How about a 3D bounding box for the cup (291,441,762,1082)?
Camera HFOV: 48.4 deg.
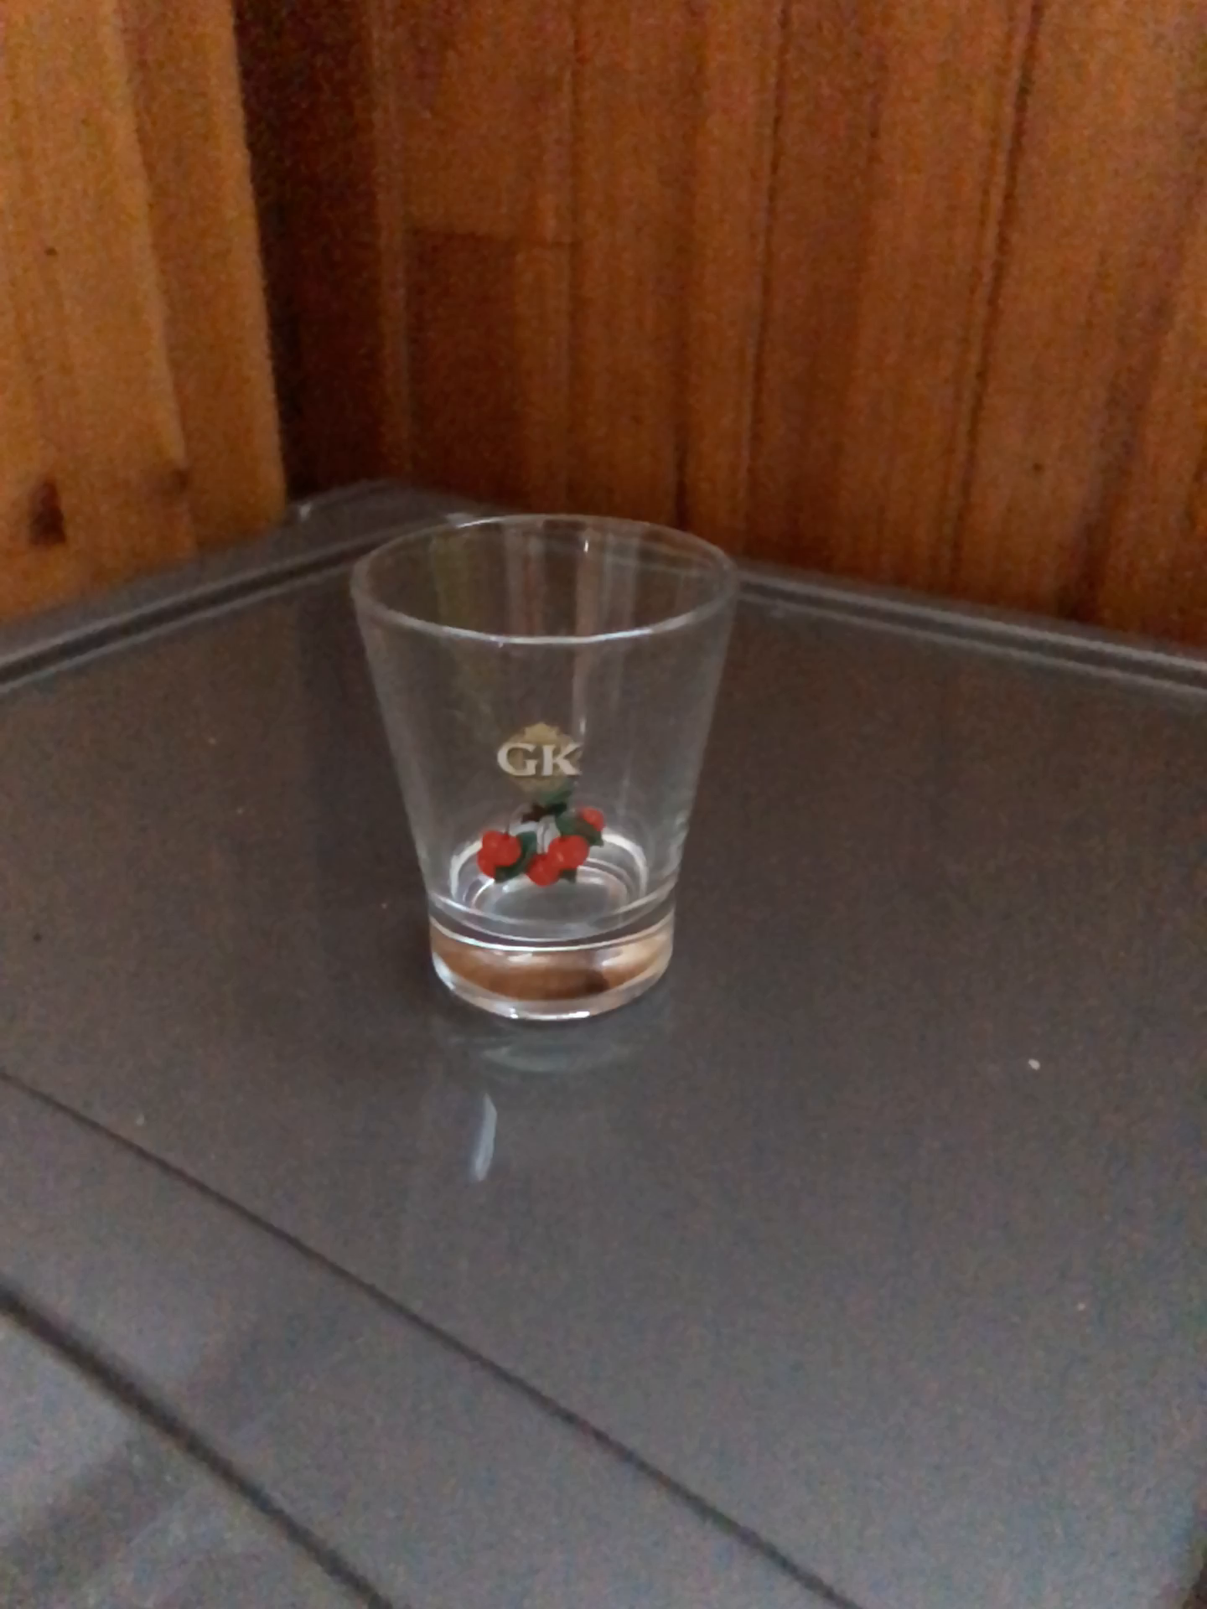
[{"bbox_3d":[-0.015,-0.010,0.214,0.060,0.080,0.060,1,28,0],"label":"cup"}]
